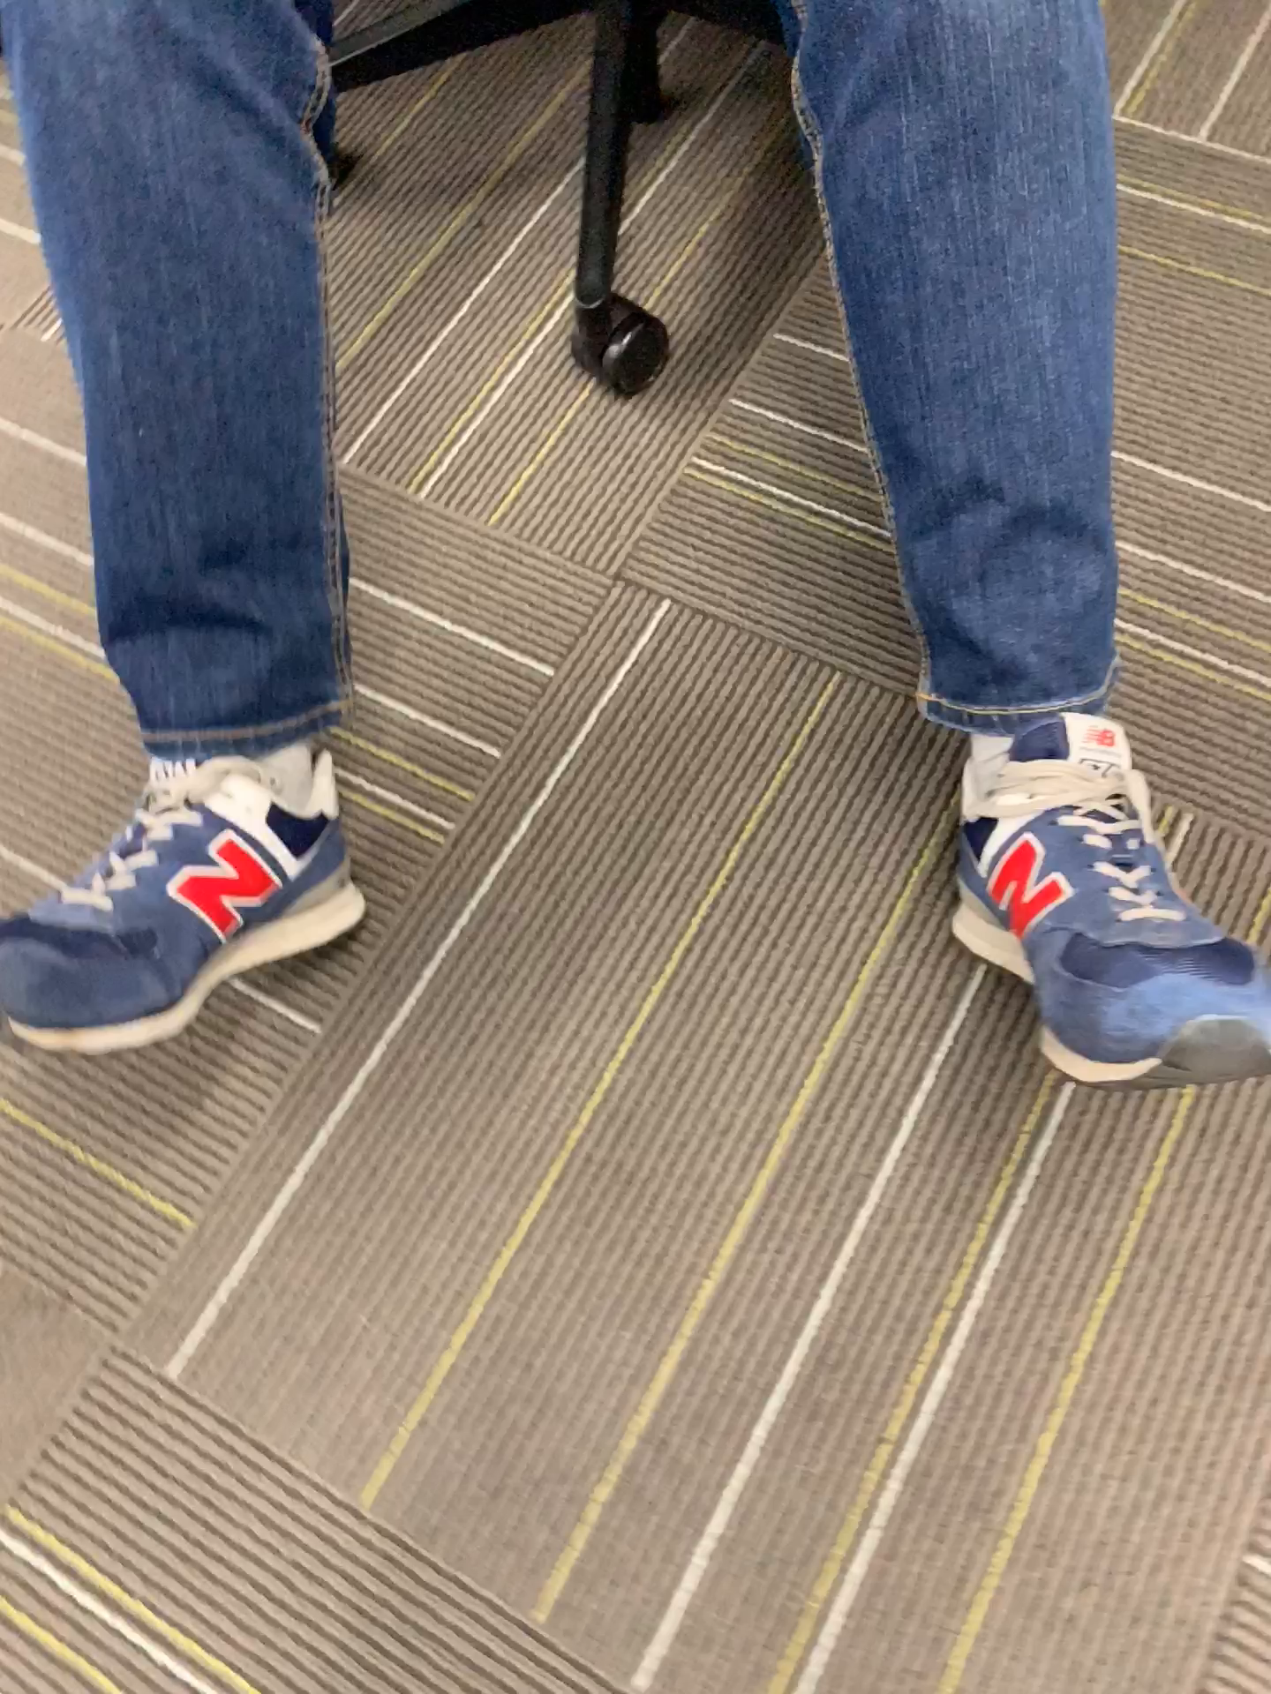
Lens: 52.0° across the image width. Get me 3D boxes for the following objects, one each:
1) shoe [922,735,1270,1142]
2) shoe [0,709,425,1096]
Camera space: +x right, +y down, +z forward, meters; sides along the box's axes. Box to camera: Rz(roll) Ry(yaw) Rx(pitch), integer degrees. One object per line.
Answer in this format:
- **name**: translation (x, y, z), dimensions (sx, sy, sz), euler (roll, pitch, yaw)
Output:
- **shoe**: translation (0.245, 0.027, 0.674), dimensions (0.114, 0.303, 0.096), euler (-9, 106, 1)
- **shoe**: translation (-0.255, 0.012, 0.763), dimensions (0.120, 0.296, 0.136), euler (4, 106, 20)
